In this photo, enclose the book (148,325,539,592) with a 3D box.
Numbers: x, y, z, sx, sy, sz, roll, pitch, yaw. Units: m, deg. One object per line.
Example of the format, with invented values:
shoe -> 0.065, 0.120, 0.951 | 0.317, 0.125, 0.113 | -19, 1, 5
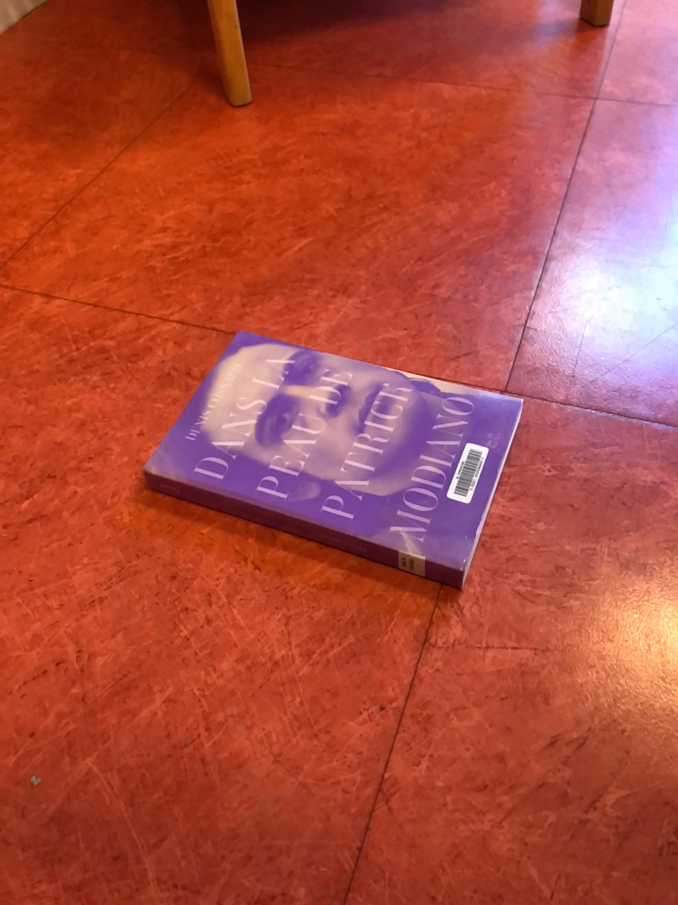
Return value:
book -> 0.007, -0.007, 0.529 | 0.232, 0.030, 0.151 | 16, 53, 16
